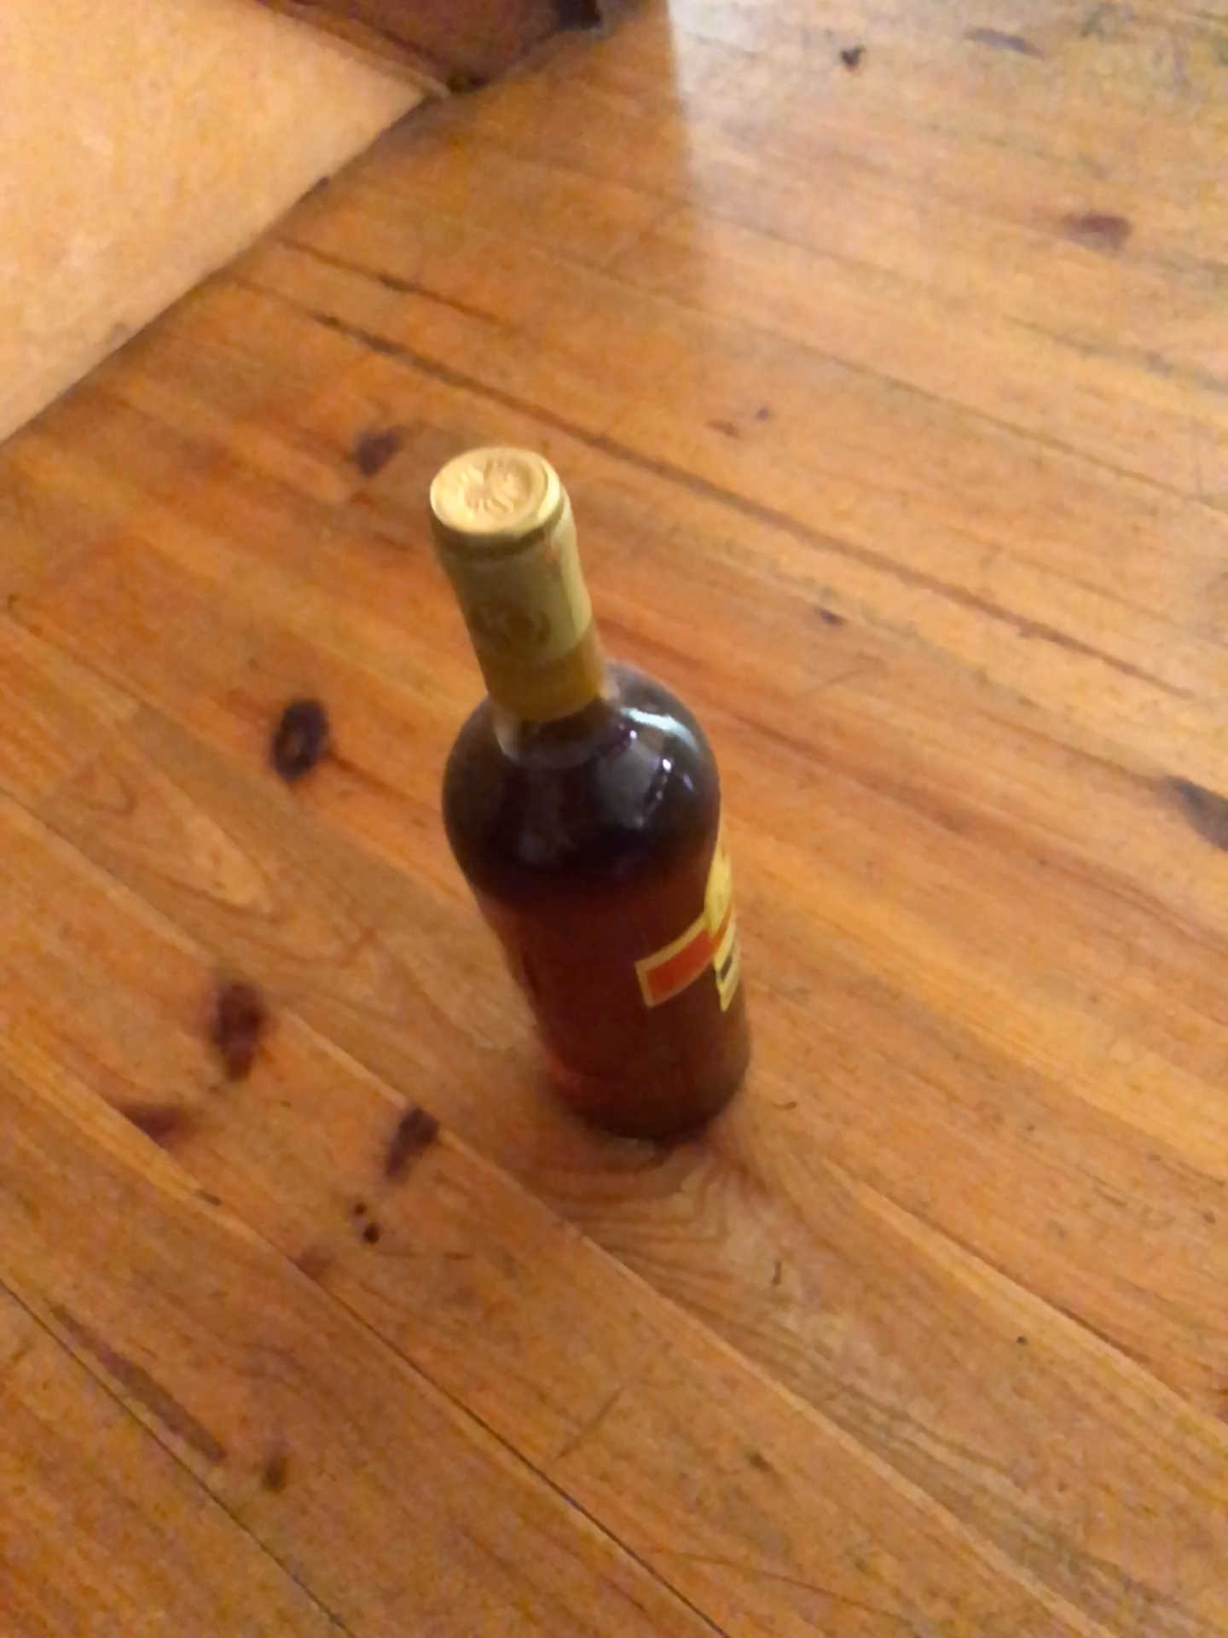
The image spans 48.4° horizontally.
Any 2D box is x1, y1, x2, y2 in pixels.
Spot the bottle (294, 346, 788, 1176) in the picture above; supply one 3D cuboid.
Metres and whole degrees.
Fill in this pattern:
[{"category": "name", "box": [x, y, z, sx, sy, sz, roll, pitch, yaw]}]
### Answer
[{"category": "bottle", "box": [0.000, 0.015, 0.386, 0.080, 0.289, 0.080, -4, 59, 7]}]
